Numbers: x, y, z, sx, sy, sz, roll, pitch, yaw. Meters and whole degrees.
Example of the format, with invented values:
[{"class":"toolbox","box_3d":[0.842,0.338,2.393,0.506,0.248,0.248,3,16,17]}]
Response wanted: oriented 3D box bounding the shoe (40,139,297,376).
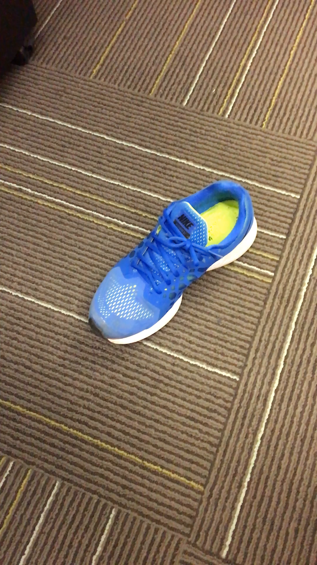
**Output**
[{"class":"shoe","box_3d":[0.019,-0.030,0.636,0.310,0.150,0.110,-37,70,-13]}]
